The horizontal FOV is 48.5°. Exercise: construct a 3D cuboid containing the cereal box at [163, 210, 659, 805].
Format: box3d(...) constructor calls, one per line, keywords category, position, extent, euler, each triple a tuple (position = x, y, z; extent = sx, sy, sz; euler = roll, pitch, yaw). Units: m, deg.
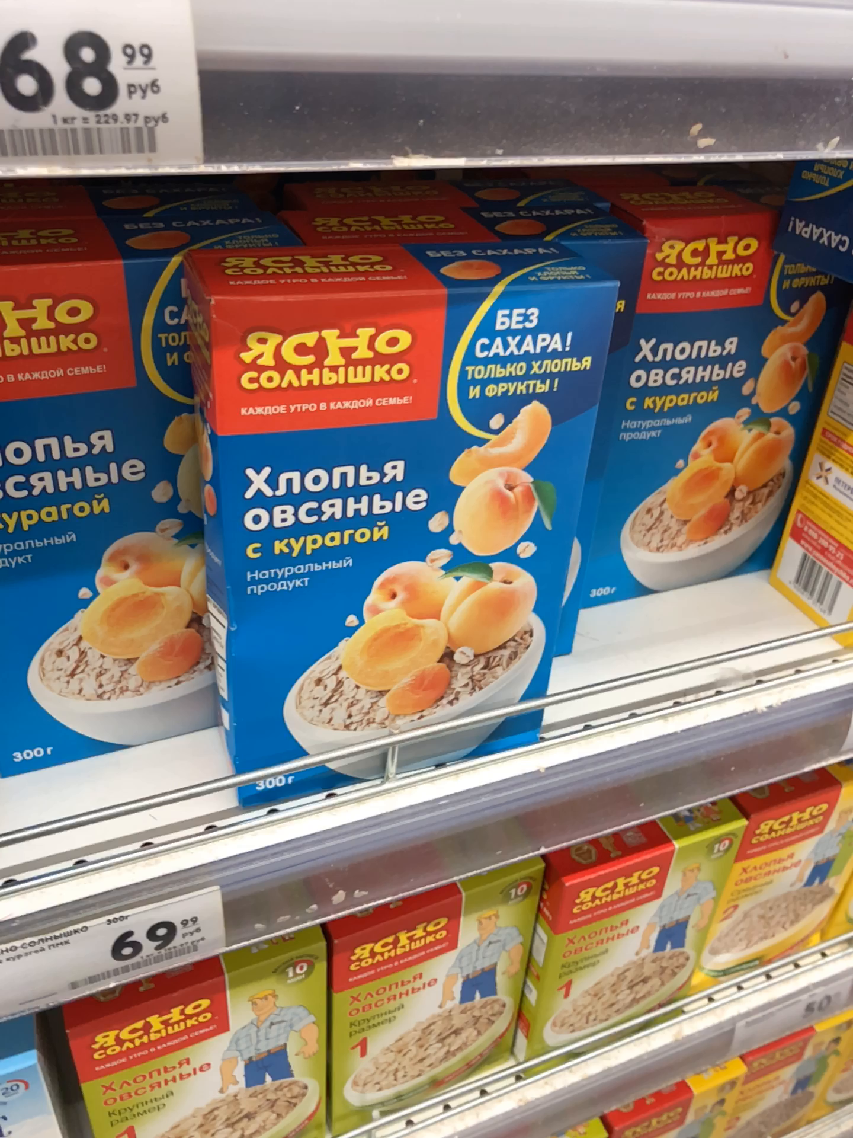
box3d(category="cereal box", position=(-0.009, -0.019, 0.359), extent=(0.150, 0.209, 0.050), euler=(-9, 35, -18))
